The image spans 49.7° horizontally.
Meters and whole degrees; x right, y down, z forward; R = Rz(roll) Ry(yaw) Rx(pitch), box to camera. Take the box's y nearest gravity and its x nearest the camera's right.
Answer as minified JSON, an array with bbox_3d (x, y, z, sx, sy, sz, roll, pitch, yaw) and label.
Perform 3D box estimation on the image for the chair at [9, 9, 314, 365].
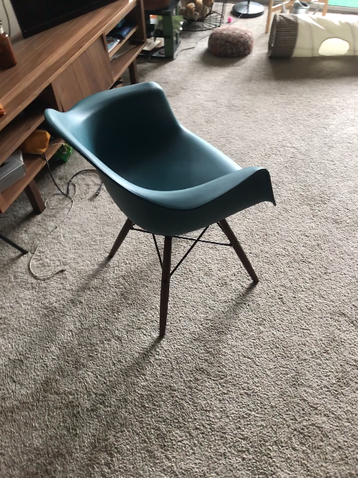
[{"bbox_3d":[-0.038,-0.119,1.236,0.482,0.845,0.572,-32,56,-18],"label":"chair"}]
